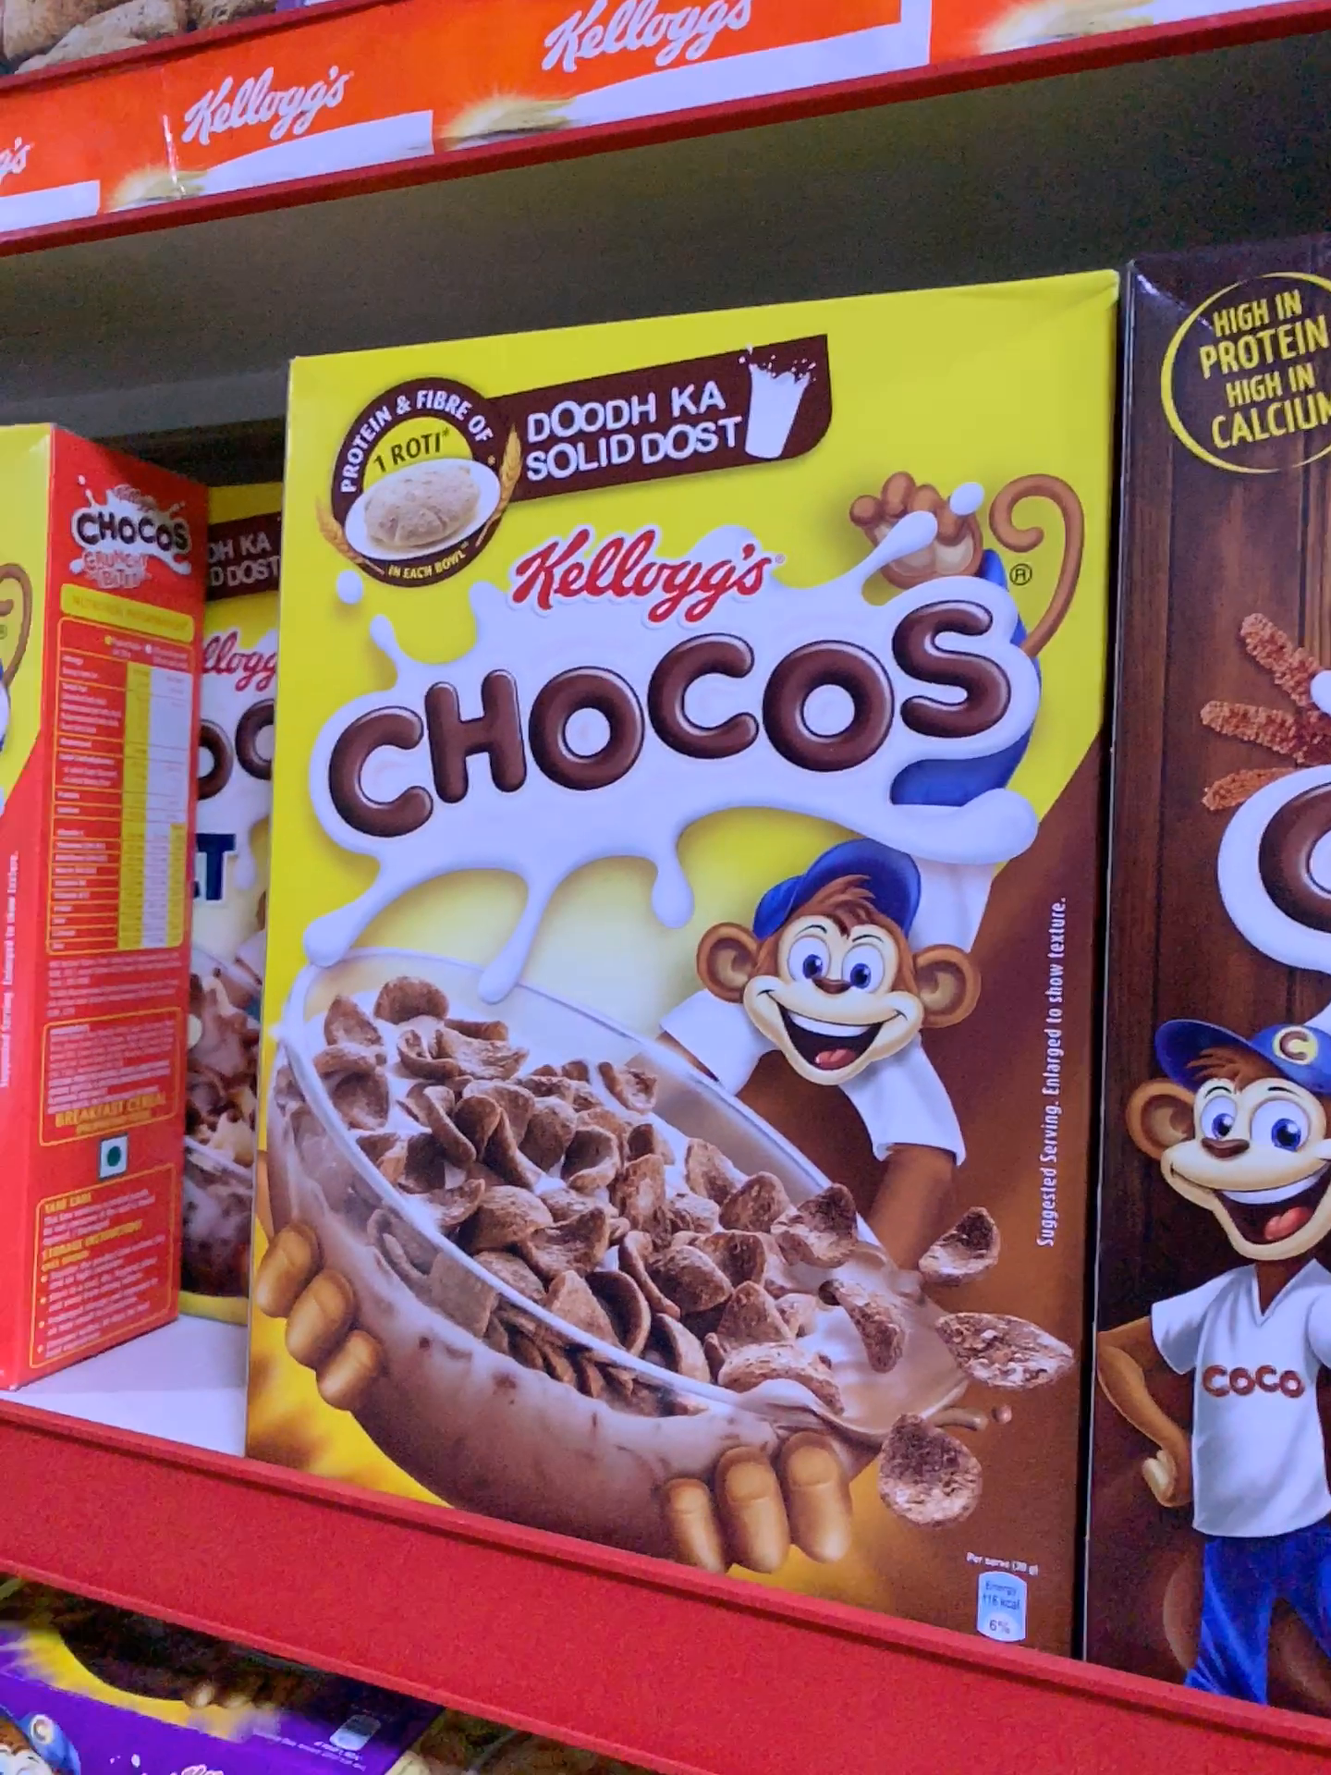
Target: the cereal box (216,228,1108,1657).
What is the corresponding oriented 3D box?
[{"bbox_3d":[-0.002,0.006,0.292,0.170,0.240,0.060,2,0,22],"label":"cereal box"}]
